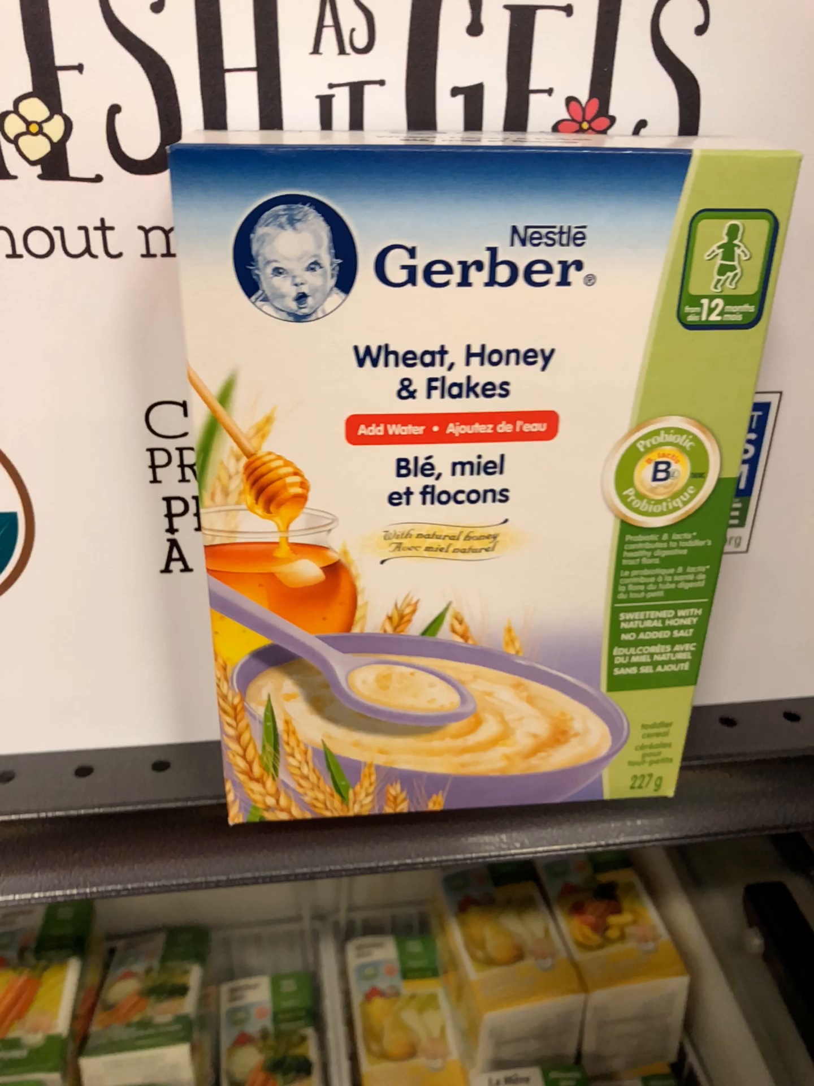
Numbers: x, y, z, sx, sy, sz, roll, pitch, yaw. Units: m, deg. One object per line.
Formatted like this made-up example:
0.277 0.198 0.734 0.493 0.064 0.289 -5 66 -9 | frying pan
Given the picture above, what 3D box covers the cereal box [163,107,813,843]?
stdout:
0.021 -0.011 0.260 0.150 0.199 0.050 -2 28 -6 | cereal box
